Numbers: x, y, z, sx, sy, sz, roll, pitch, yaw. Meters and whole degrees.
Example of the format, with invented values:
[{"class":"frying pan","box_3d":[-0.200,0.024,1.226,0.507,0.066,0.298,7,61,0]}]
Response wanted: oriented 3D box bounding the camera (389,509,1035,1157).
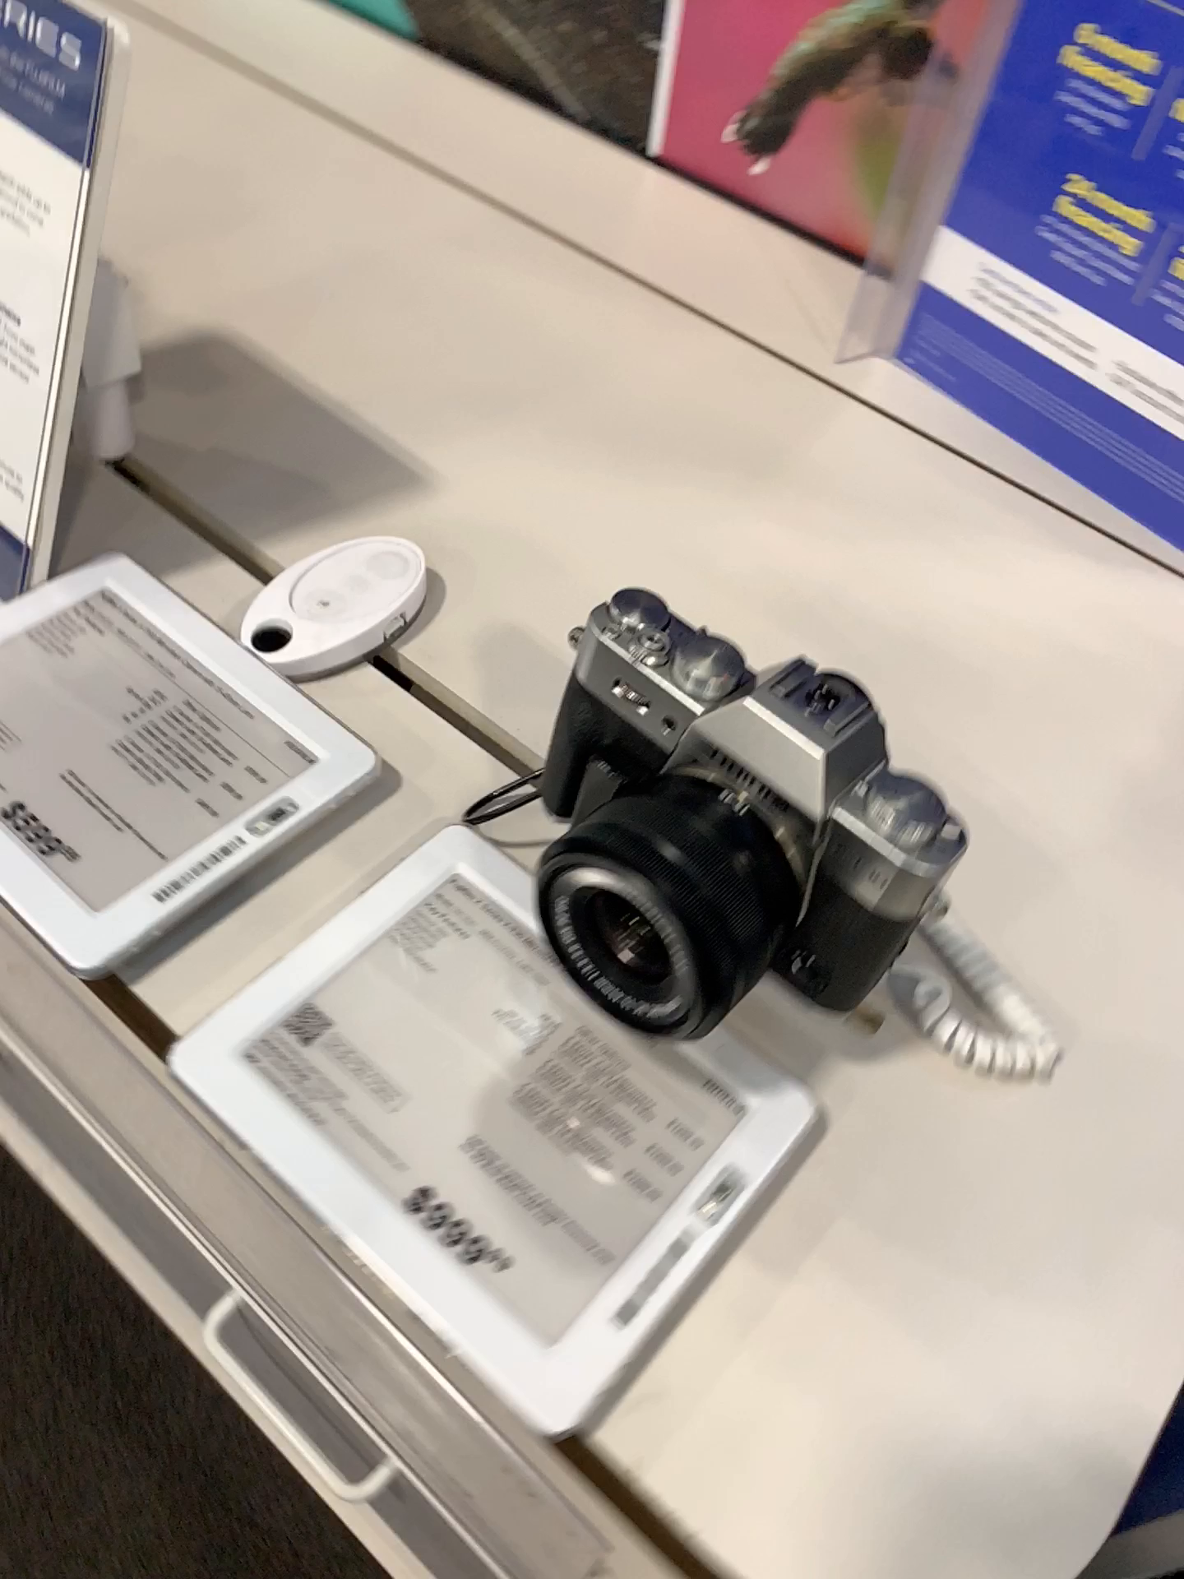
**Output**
[{"class":"camera","box_3d":[0.027,0.007,0.337,0.130,0.080,0.100,38,56,21]}]
